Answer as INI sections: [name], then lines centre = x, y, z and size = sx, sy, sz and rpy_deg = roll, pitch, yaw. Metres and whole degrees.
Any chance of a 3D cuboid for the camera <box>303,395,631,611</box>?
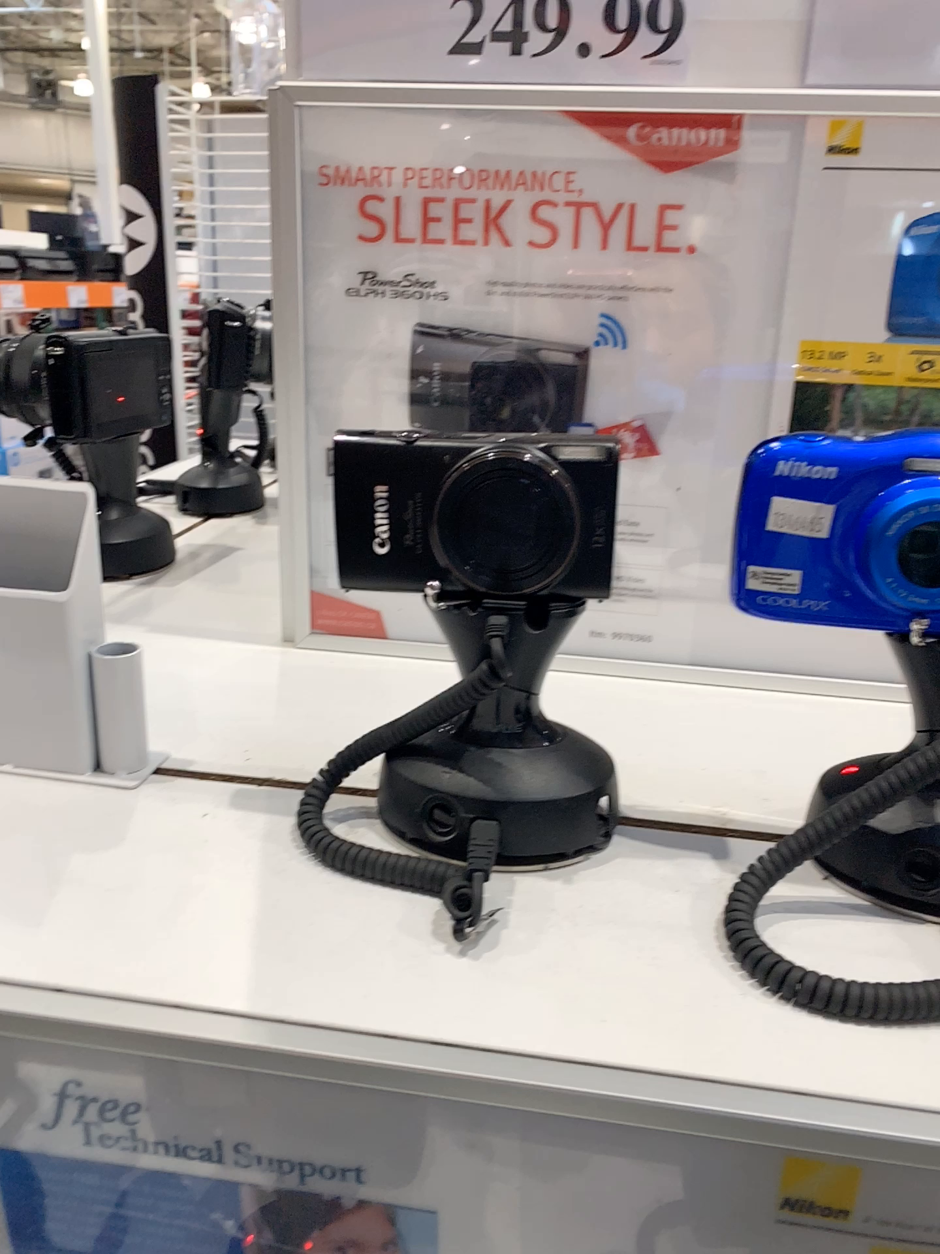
[camera]
centre = -0.001, -0.043, 0.323
size = 0.100, 0.060, 0.040
rpy_deg = 3, 18, 3
